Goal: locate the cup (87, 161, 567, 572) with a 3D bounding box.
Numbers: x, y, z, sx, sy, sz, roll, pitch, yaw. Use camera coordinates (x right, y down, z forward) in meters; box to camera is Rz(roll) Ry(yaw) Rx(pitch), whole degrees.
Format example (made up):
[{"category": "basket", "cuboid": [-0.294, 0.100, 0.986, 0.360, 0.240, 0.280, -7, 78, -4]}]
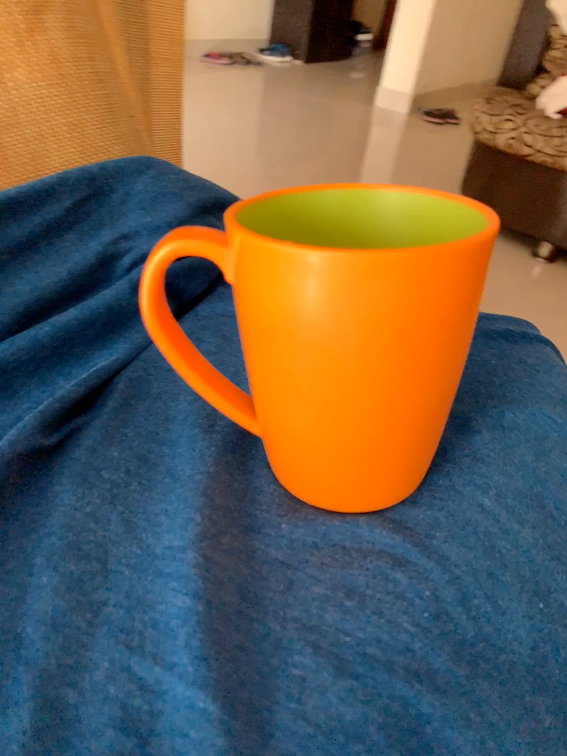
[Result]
[{"category": "cup", "cuboid": [0.008, -0.016, 0.203, 0.120, 0.089, 0.101, -10, 27, -9]}]
